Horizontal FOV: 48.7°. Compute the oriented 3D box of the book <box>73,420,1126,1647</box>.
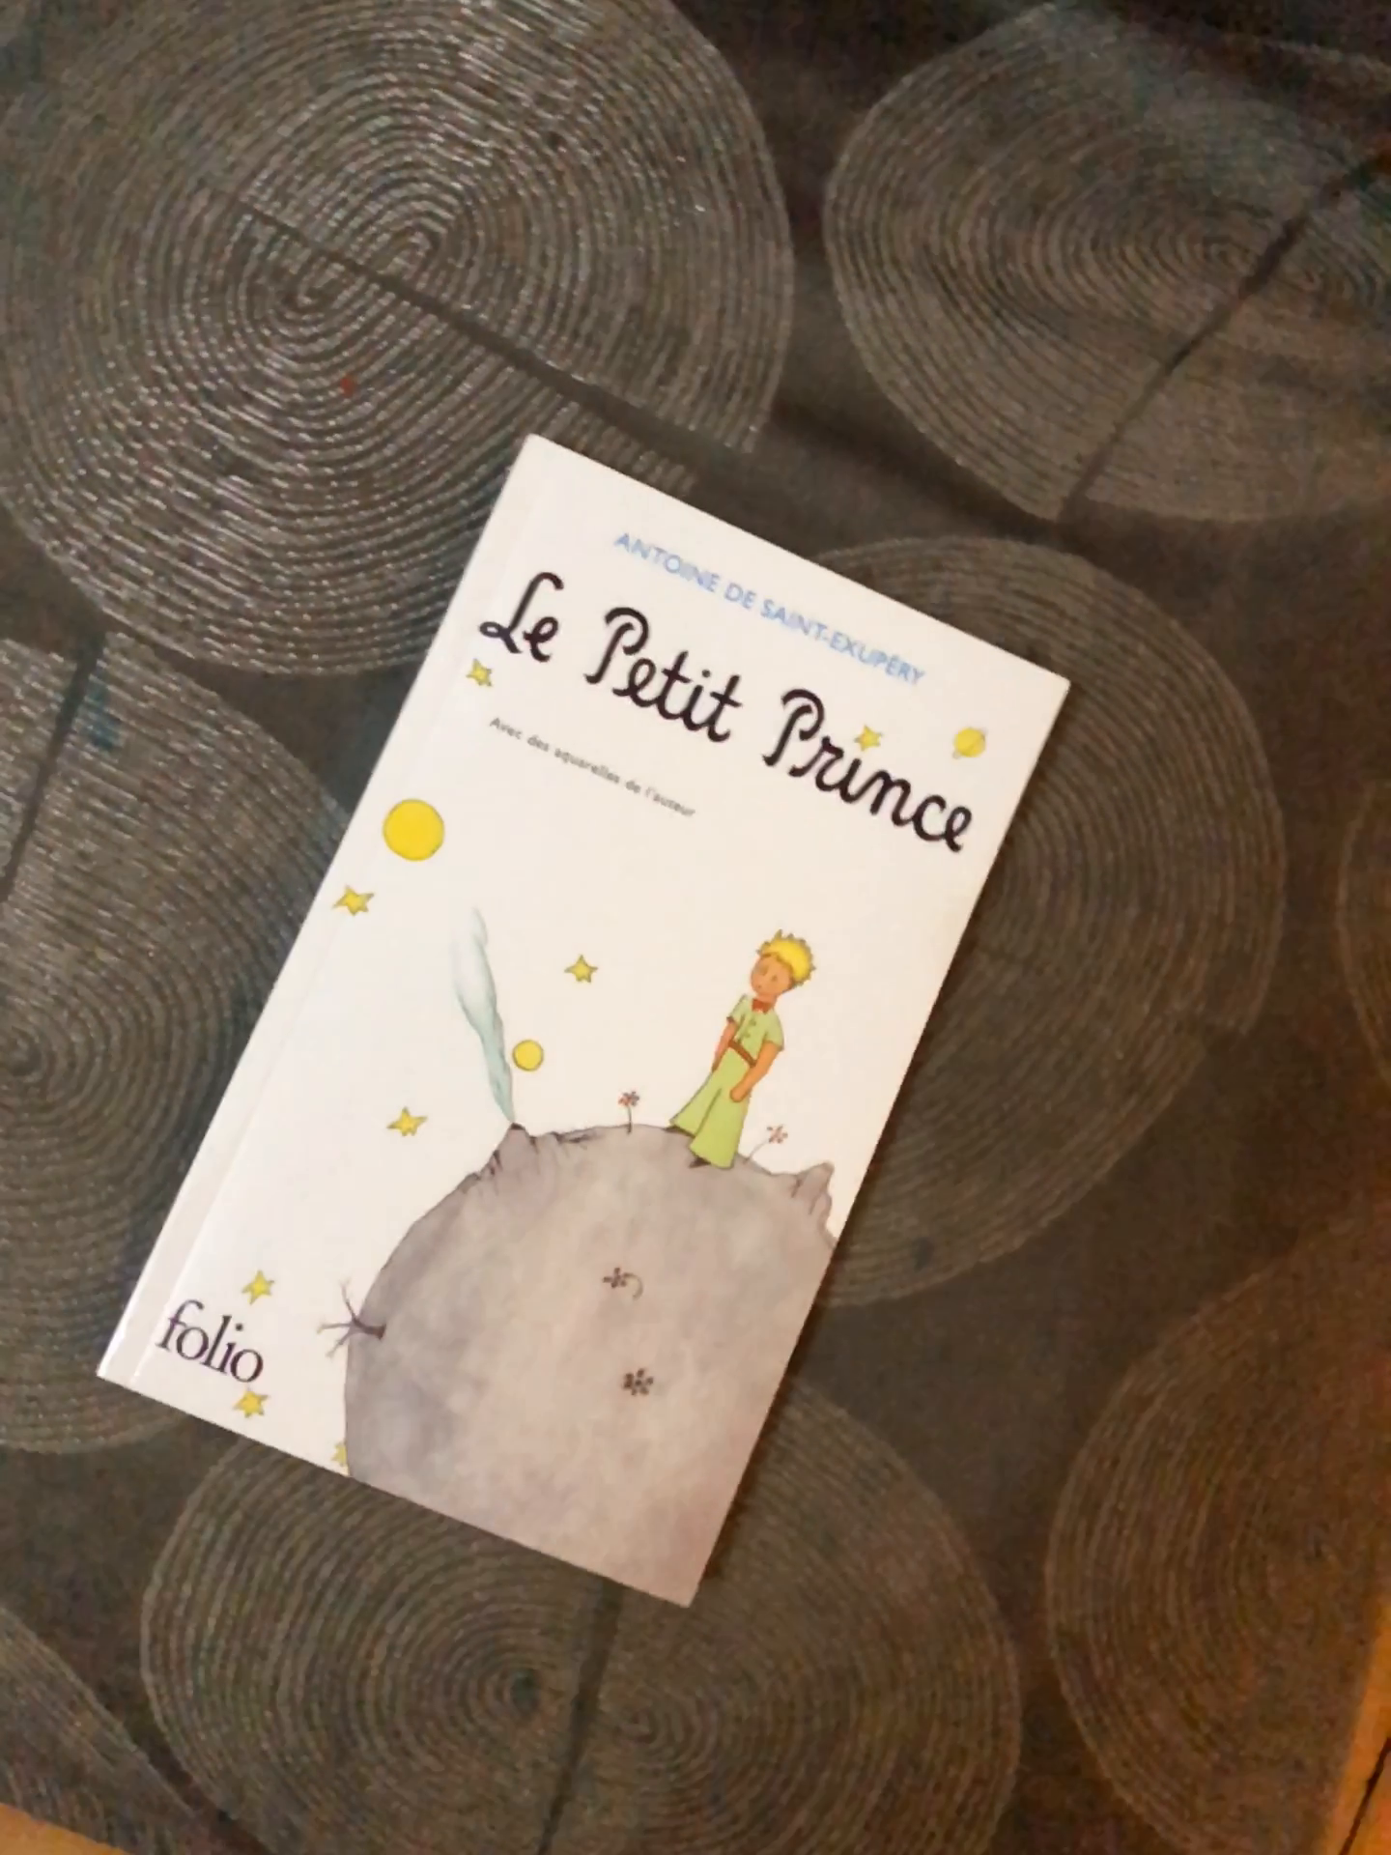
[{"bbox_3d":[-0.015,0.019,0.264,0.110,0.030,0.170,25,89,-7],"label":"book"}]
